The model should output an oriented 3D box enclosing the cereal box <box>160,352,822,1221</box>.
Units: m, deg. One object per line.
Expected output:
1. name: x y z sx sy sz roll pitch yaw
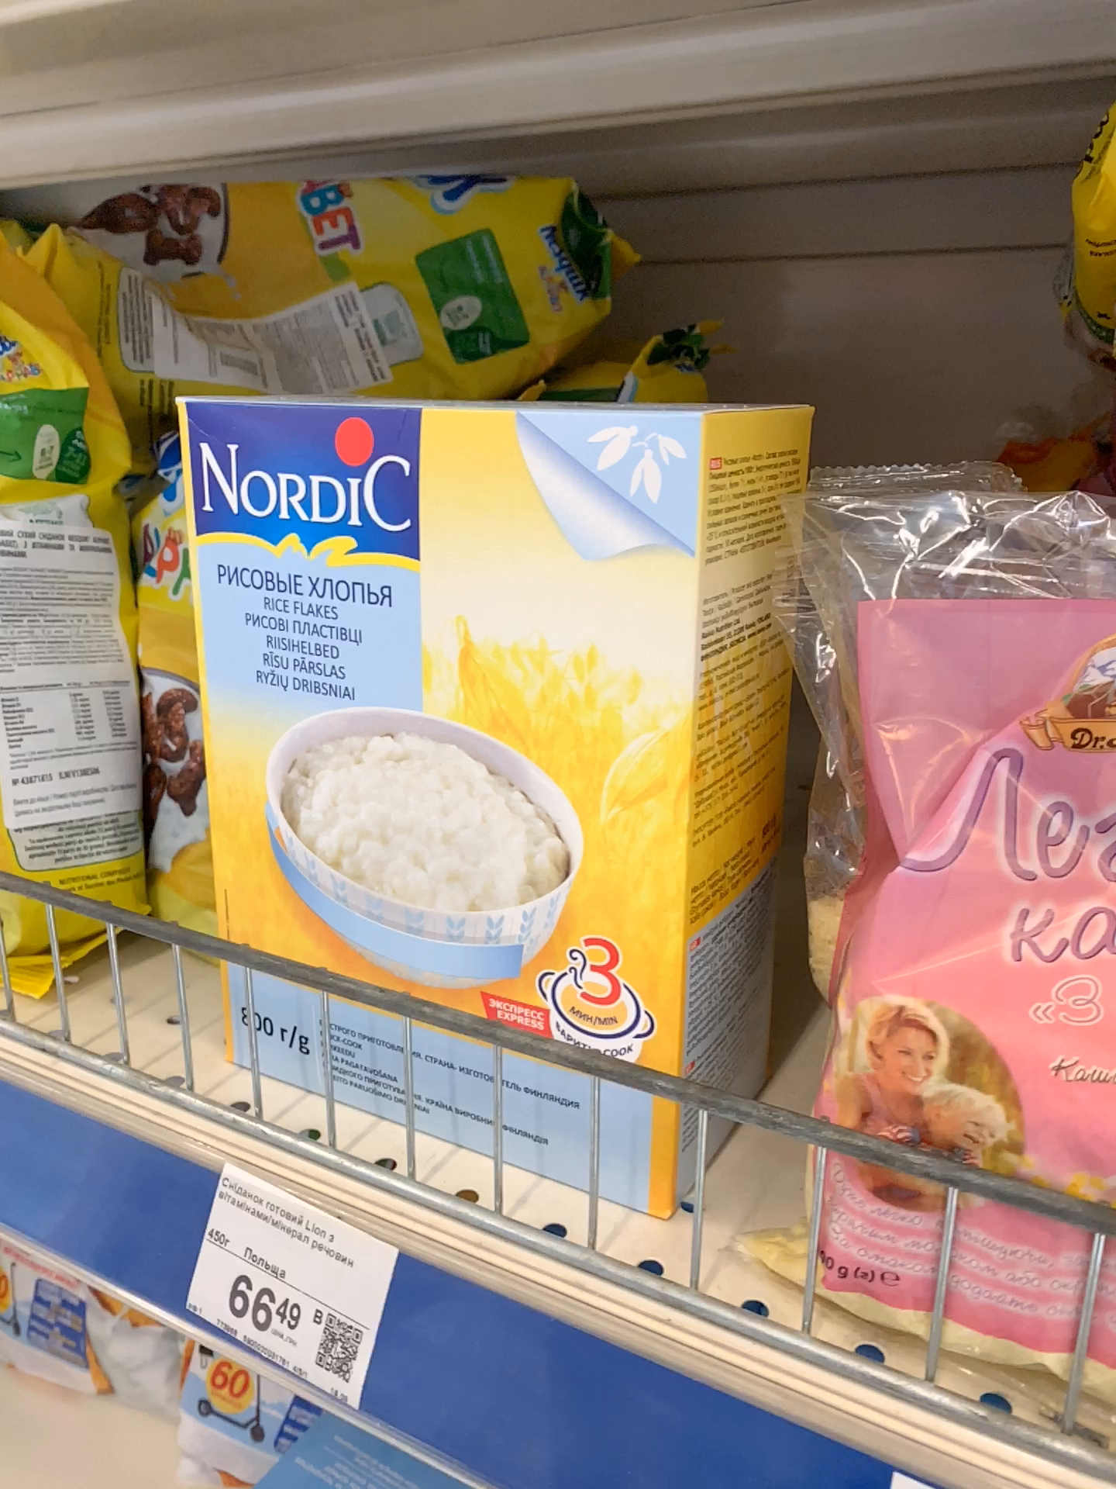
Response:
1. cereal box: -0.019 -0.002 0.323 0.150 0.199 0.080 9 17 28
